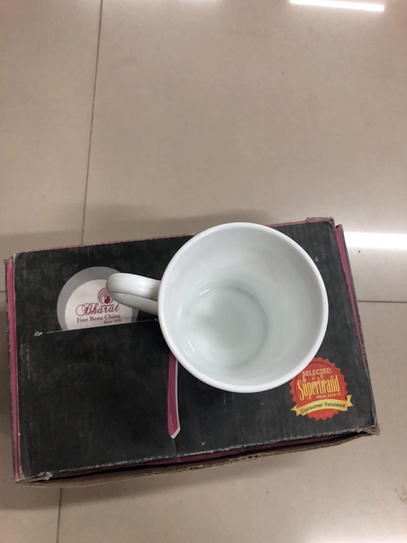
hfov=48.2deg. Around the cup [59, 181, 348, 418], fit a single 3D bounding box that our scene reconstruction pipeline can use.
[{"bbox_3d":[0.000,0.020,0.241,0.110,0.090,0.080,14,76,0],"label":"cup"}]
